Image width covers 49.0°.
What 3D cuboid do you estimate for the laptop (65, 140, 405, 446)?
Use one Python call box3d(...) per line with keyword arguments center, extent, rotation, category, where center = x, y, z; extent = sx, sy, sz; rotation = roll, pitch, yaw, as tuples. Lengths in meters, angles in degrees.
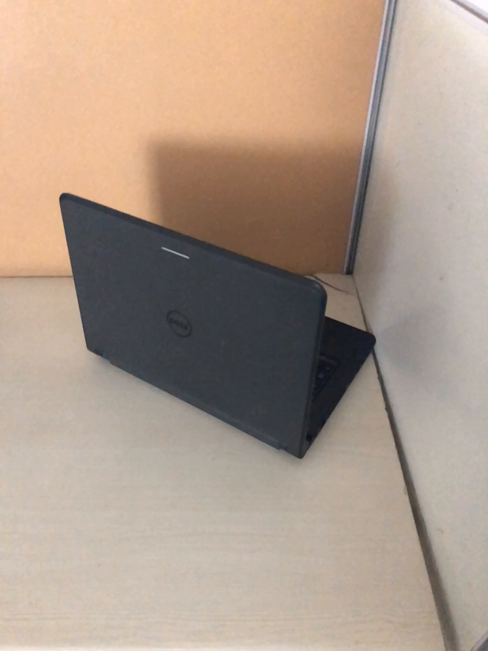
box3d(center=(-0.008, -0.058, 0.659), extent=(0.304, 0.211, 0.215), rotation=(23, 45, 24), category="laptop")
